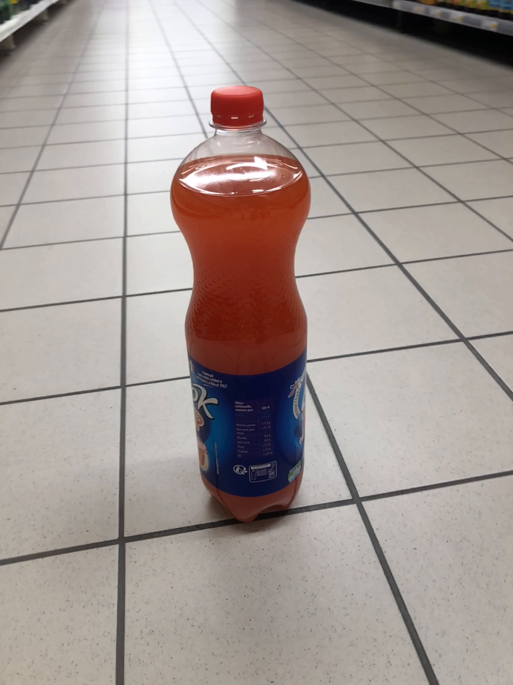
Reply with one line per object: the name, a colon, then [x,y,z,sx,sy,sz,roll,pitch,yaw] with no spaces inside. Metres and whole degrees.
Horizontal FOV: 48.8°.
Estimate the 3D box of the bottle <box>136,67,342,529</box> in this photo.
bottle: [-0.008,-0.017,0.406,0.100,0.308,0.111,-5,34,-4]
